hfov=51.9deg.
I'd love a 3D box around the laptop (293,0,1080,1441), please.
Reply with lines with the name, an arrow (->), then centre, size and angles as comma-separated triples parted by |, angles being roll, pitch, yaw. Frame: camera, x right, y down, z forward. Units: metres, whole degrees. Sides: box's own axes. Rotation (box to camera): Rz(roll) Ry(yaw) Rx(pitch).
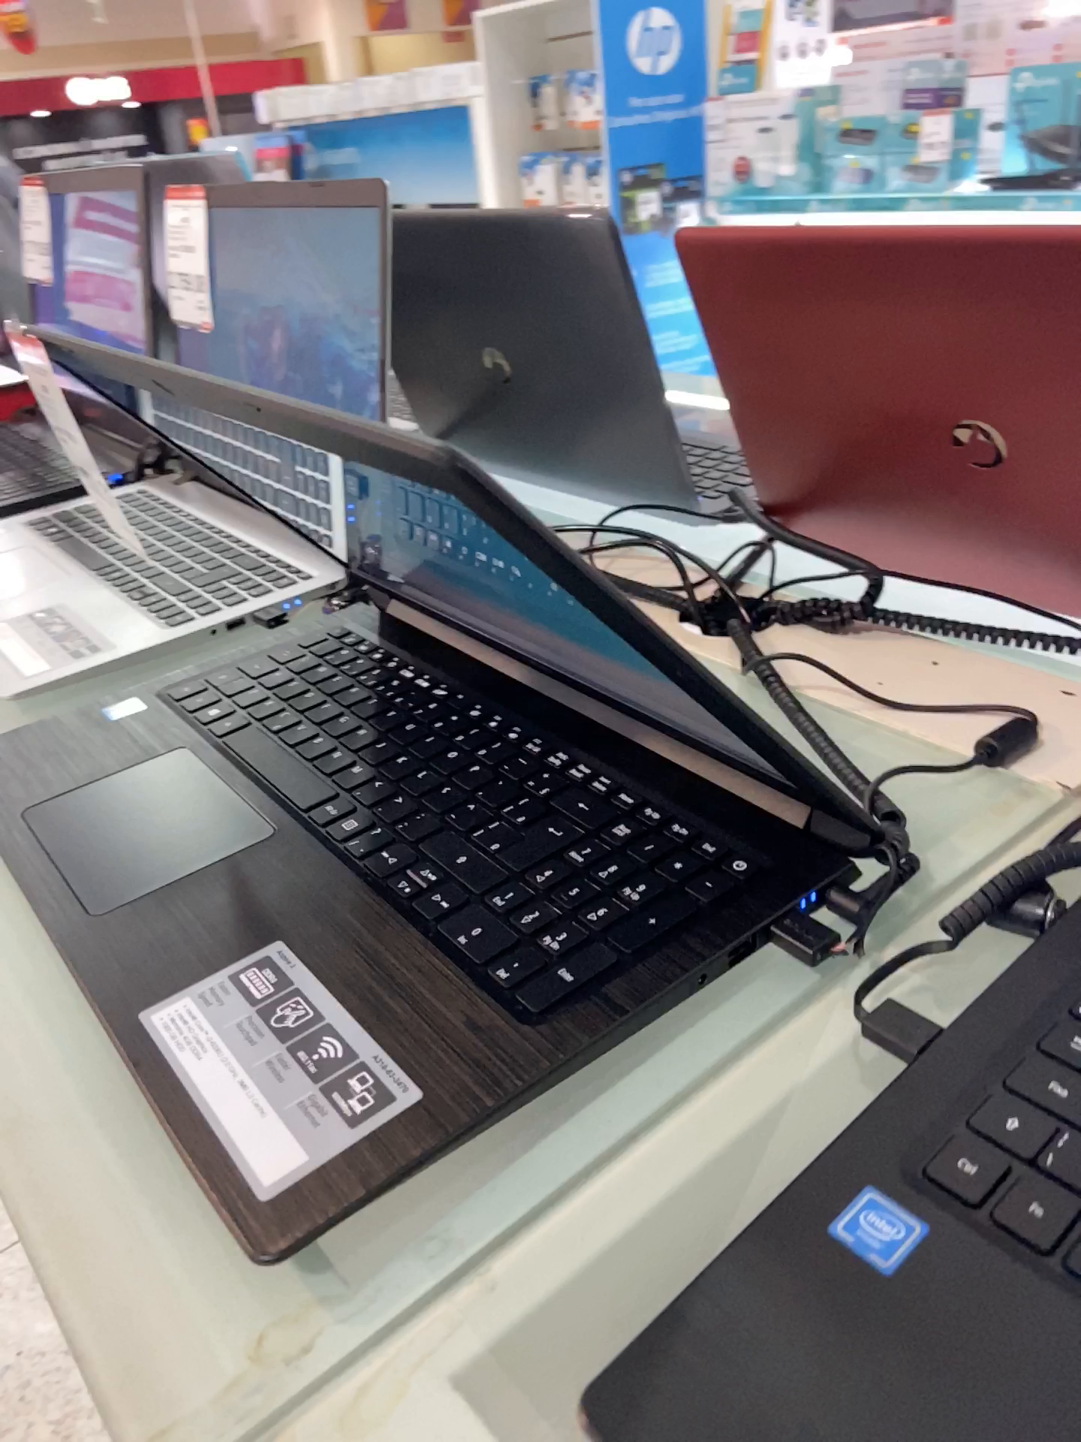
laptop -> 0.242, 0.053, 0.119 | 0.285, 0.245, 0.432 | -28, 35, -33

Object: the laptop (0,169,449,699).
laptop -> -0.313, -0.233, 0.793 | 0.302, 0.233, 0.396 | -24, 32, -28

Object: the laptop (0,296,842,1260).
laptop -> -0.104, -0.044, 0.447 | 0.234, 0.186, 0.375 | -24, 32, -29
